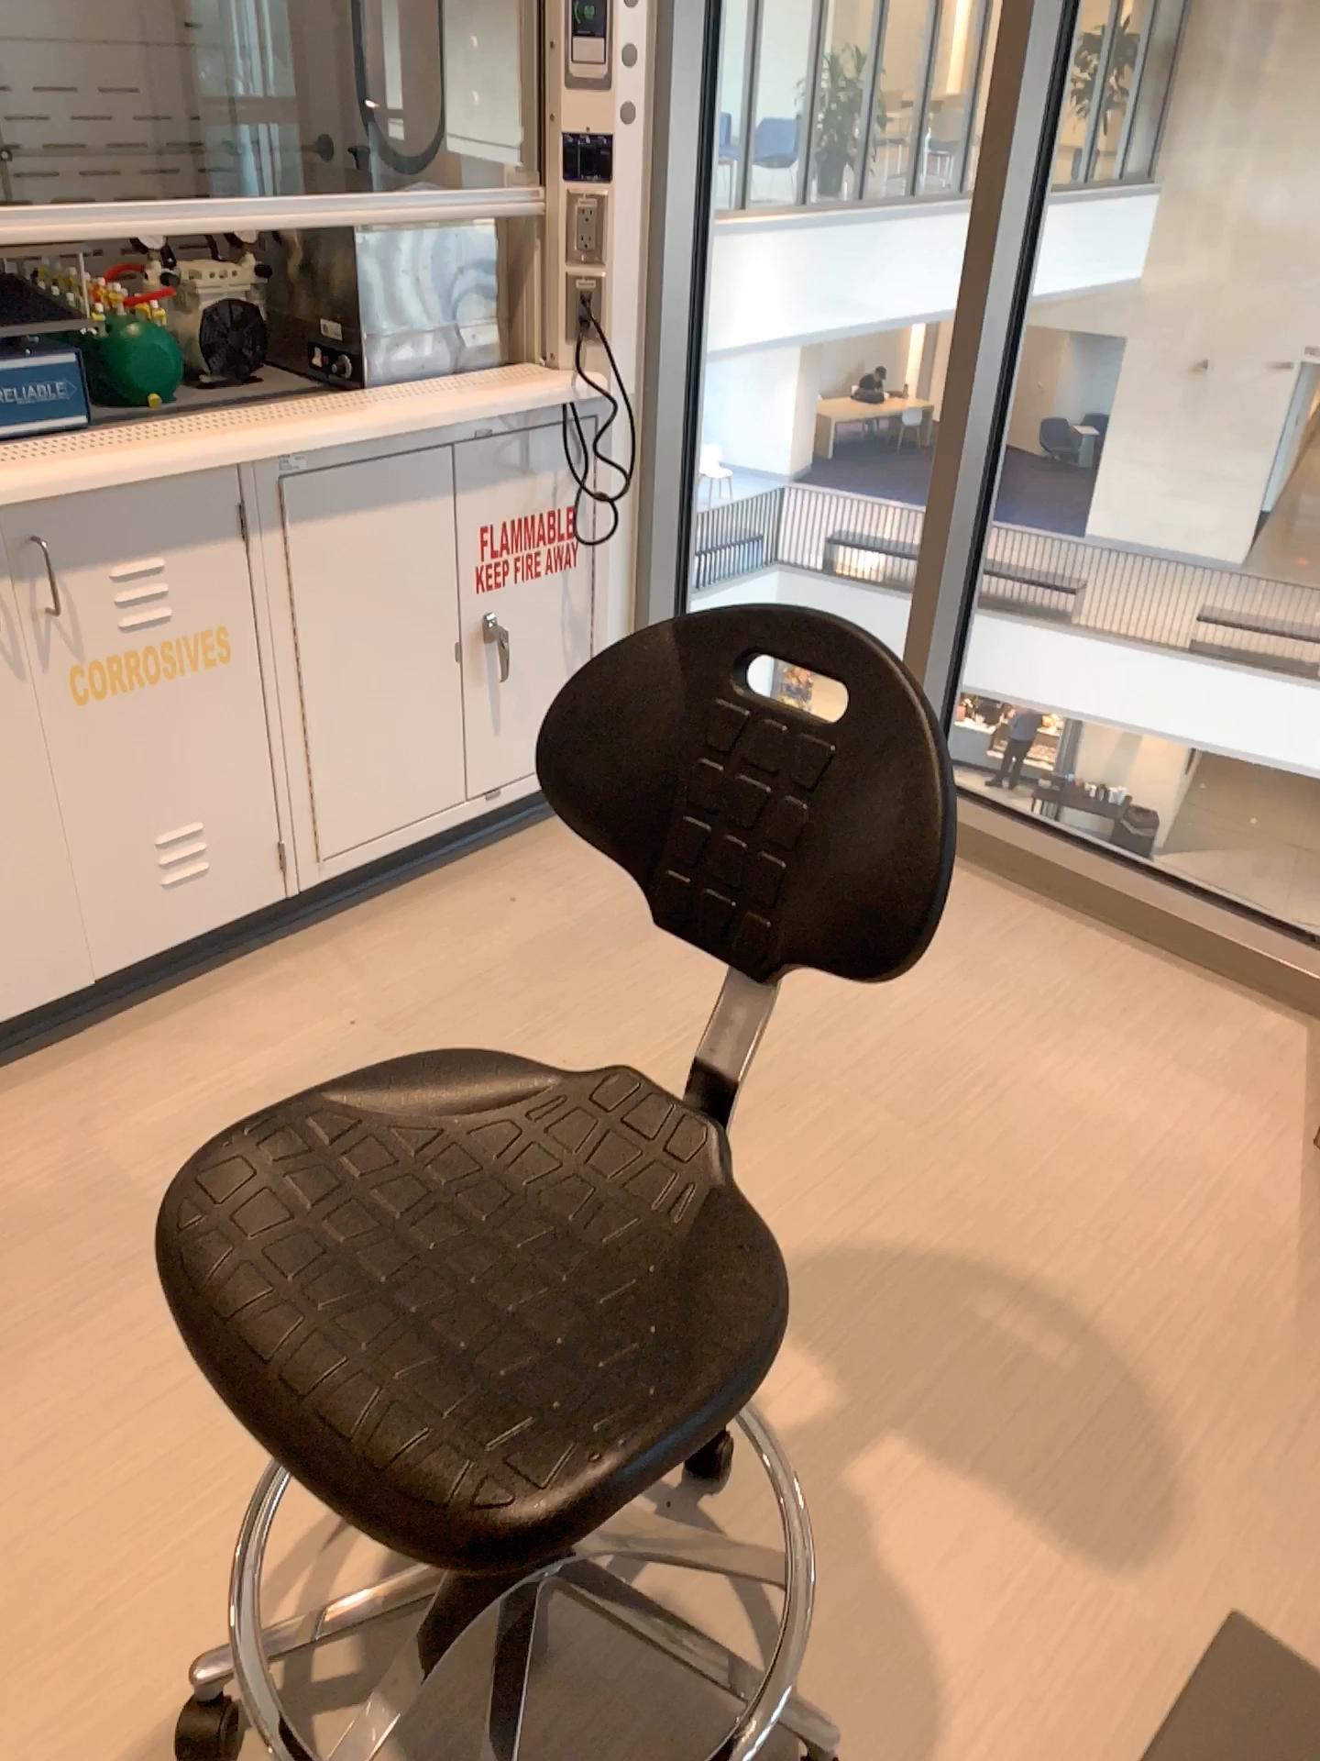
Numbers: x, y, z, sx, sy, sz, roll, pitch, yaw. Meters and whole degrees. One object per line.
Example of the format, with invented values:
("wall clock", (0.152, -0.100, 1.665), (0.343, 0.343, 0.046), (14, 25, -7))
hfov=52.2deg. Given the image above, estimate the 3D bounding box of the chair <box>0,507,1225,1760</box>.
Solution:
("chair", (-0.104, 0.316, 1.089), (0.672, 0.962, 0.664), (23, 36, 29))
